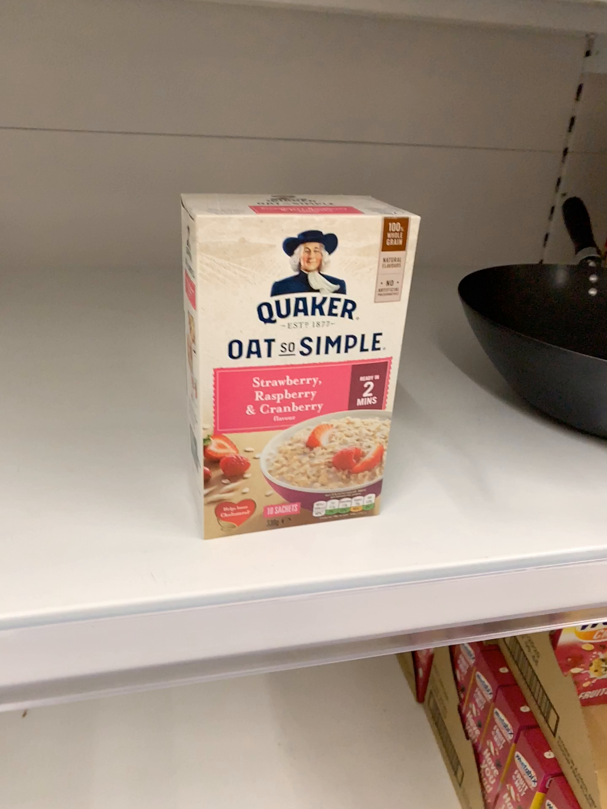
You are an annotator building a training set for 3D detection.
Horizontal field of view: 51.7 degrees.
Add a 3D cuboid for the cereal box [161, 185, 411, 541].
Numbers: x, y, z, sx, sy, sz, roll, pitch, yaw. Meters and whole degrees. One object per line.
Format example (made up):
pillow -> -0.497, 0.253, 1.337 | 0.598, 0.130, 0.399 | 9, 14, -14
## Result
cereal box -> -0.020, -0.028, 0.414 | 0.130, 0.208, 0.081 | -5, 27, -17
